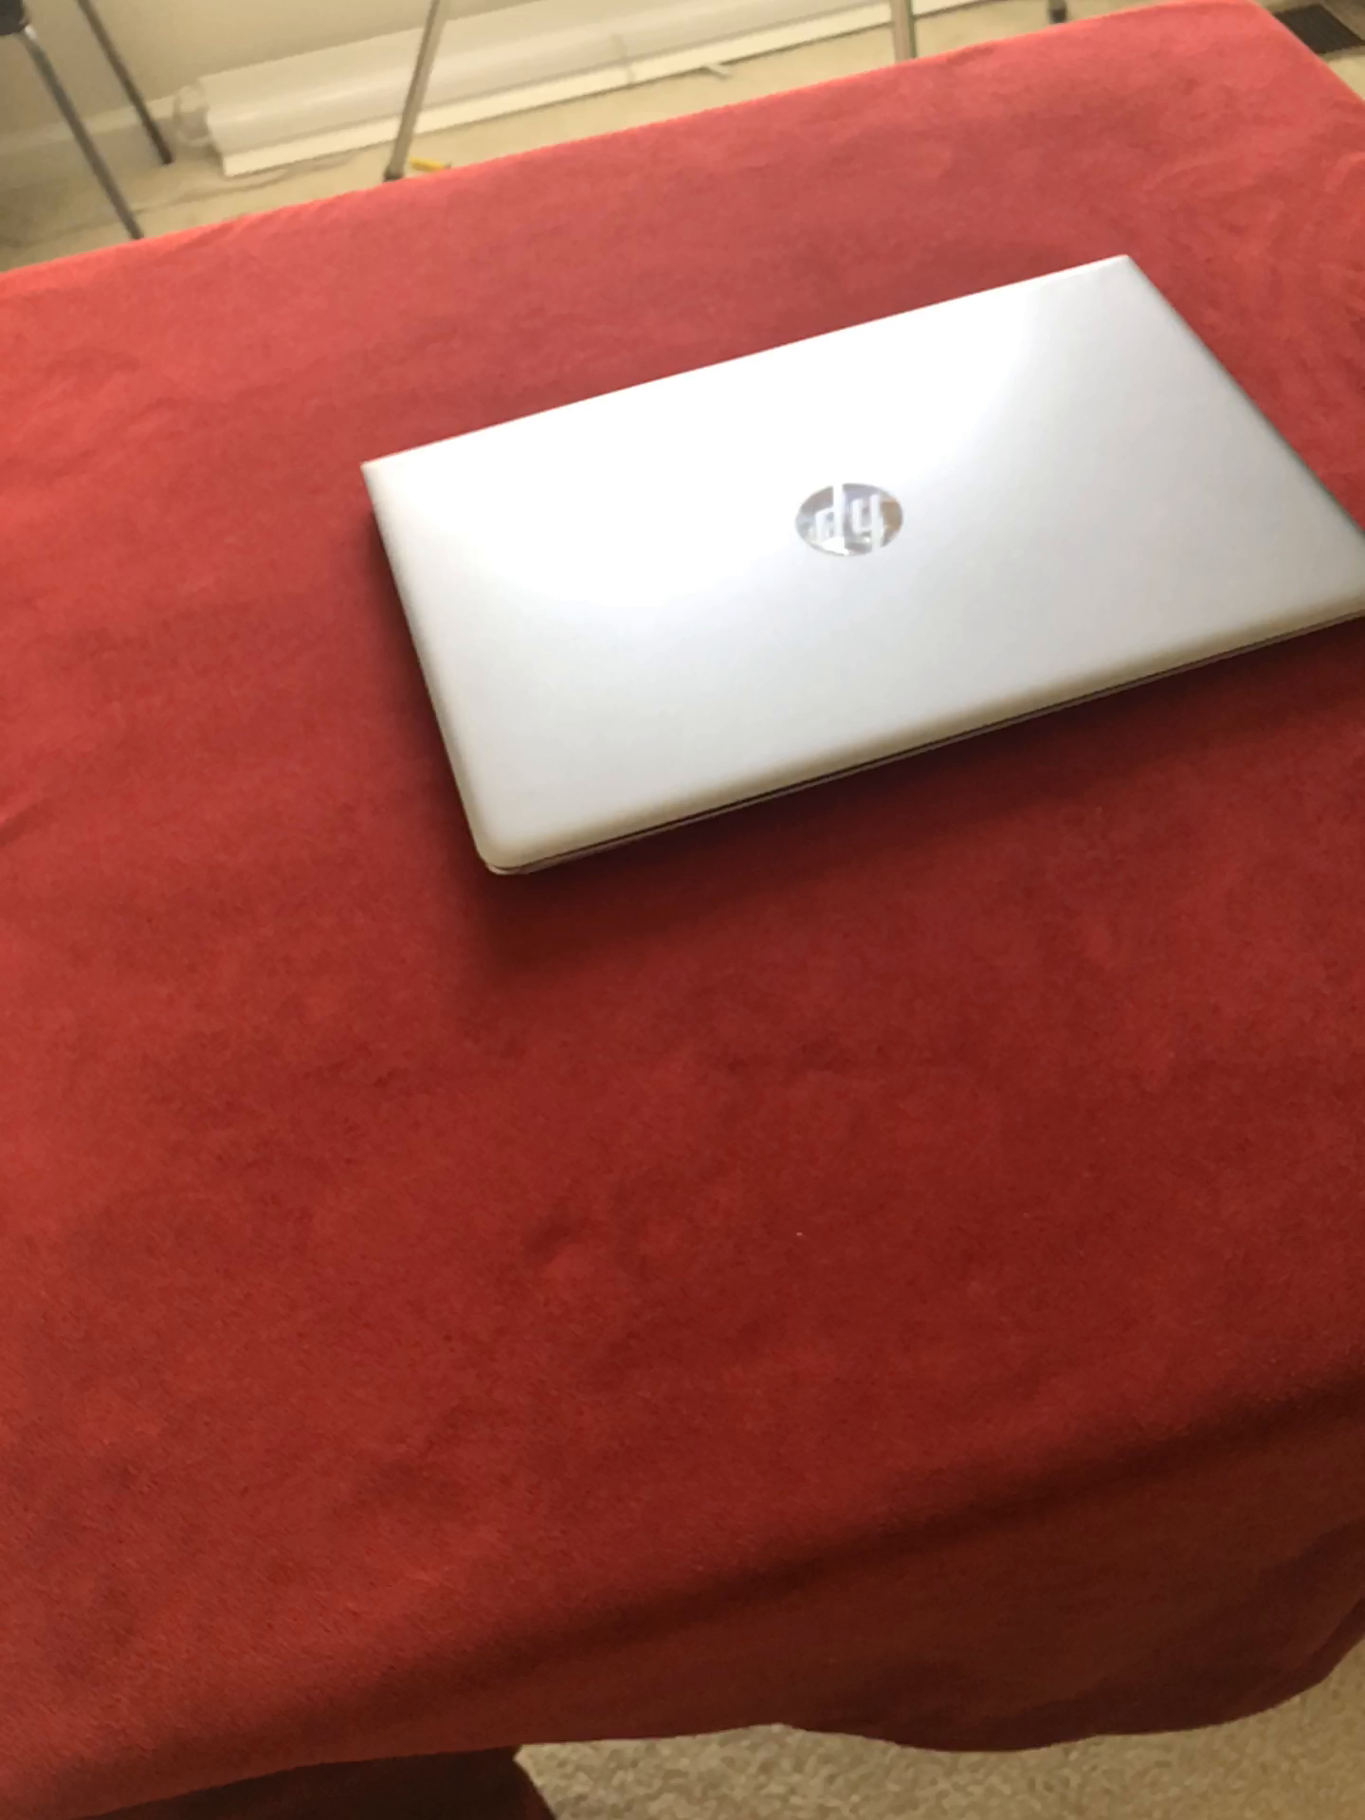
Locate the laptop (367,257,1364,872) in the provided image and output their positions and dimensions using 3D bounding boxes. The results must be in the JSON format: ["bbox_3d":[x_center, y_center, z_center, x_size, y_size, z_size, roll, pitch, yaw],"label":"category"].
[{"bbox_3d":[0.071,-0.163,0.643,0.372,0.006,0.234,-17,57,-7],"label":"laptop"}]
